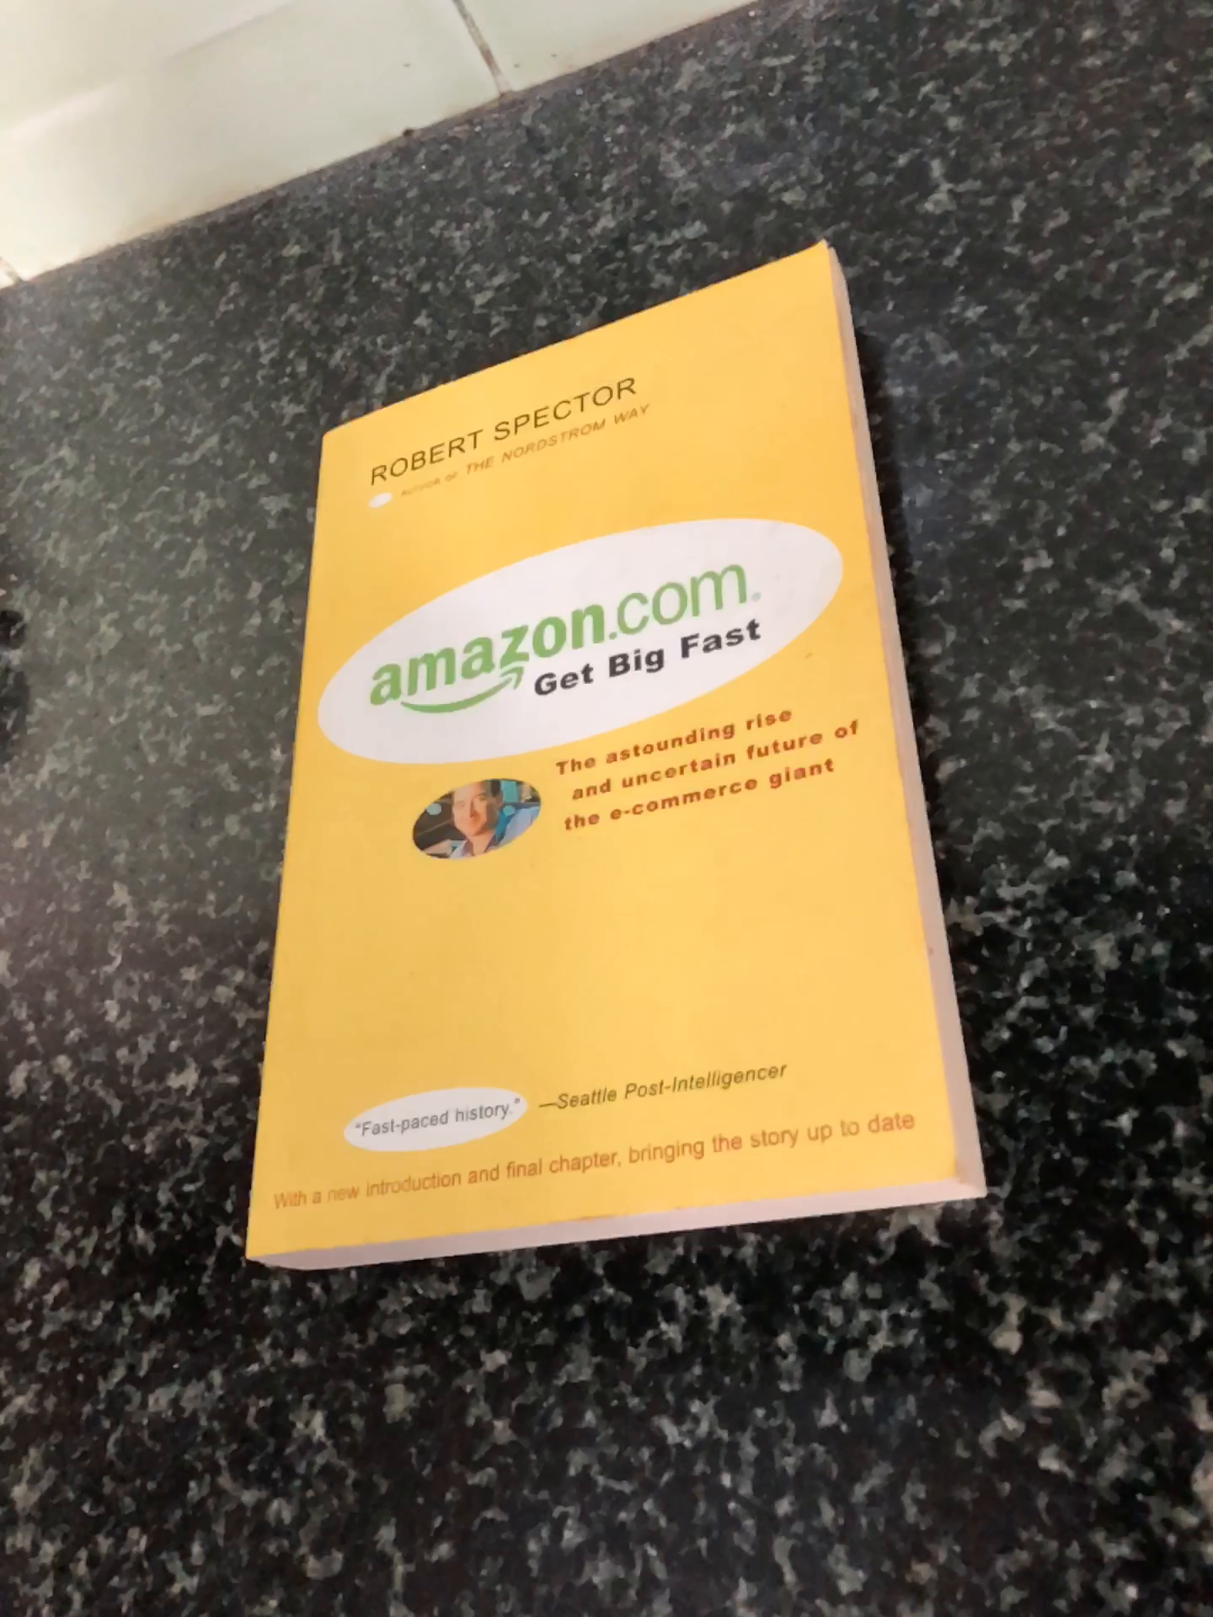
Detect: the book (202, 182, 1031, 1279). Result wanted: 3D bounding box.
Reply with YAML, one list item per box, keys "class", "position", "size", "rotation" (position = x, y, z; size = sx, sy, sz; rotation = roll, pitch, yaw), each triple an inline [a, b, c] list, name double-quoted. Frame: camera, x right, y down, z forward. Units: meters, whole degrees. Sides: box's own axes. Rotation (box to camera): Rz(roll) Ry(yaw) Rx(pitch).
- class: "book"
  position: [-0.005, -0.021, 0.278]
  size: [0.140, 0.030, 0.210]
  rotation: [-13, 60, 21]
